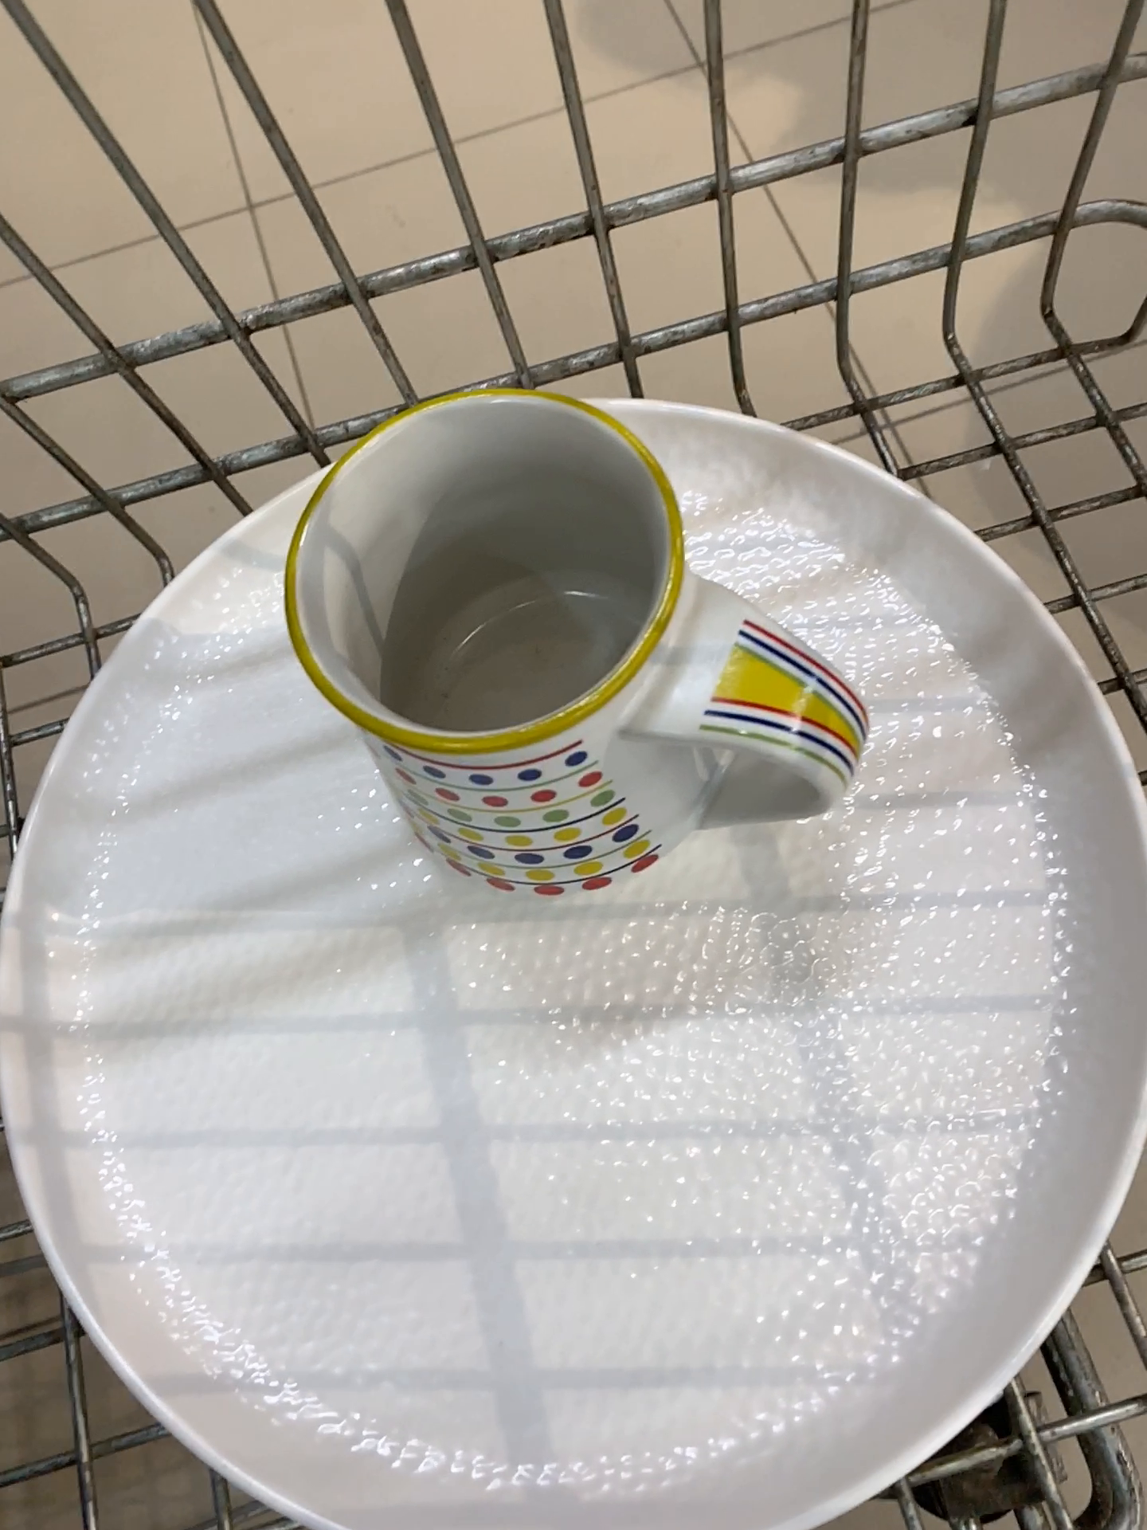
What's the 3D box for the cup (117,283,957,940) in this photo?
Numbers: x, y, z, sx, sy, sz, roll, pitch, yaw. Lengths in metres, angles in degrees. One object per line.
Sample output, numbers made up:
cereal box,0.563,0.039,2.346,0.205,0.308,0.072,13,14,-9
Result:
cup,0.002,-0.023,0.227,0.120,0.100,0.080,4,69,8
